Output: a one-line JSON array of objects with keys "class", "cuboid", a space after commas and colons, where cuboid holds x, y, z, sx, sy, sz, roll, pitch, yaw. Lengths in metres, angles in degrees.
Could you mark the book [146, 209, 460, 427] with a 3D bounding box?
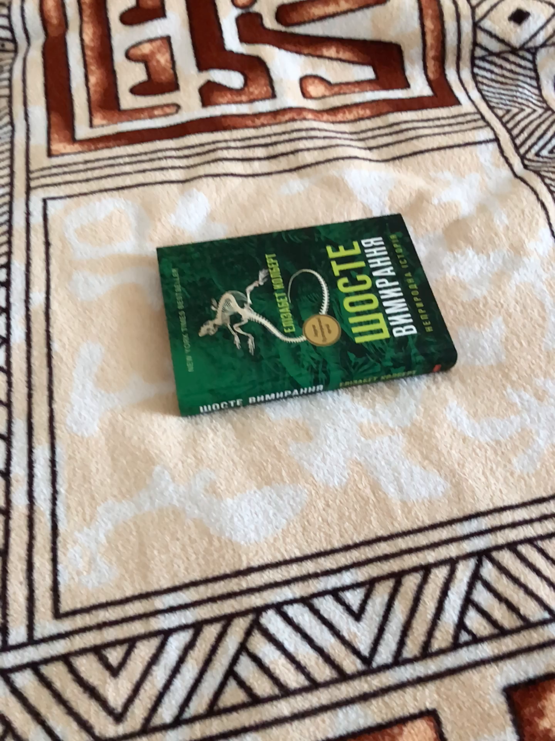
[{"class": "book", "cuboid": [0.014, -0.049, 0.494, 0.220, 0.030, 0.150, -10, 62, -6]}]
